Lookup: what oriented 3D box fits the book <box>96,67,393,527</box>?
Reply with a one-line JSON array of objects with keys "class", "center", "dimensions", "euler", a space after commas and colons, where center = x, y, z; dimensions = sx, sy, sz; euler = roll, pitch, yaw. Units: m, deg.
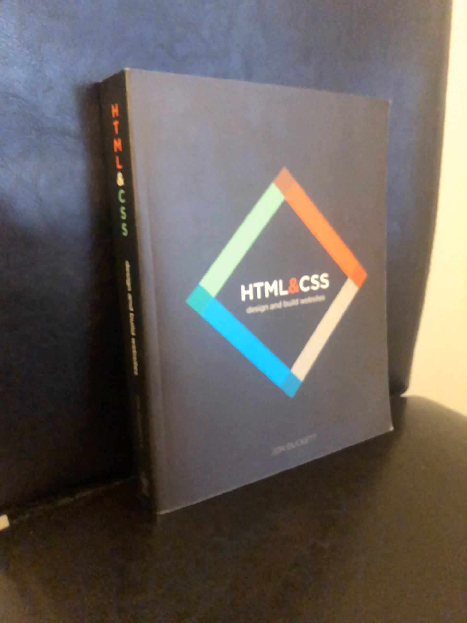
[{"class": "book", "center": [0.023, -0.014, 0.324], "dimensions": [0.189, 0.231, 0.030], "euler": [-10, 12, -32]}]
